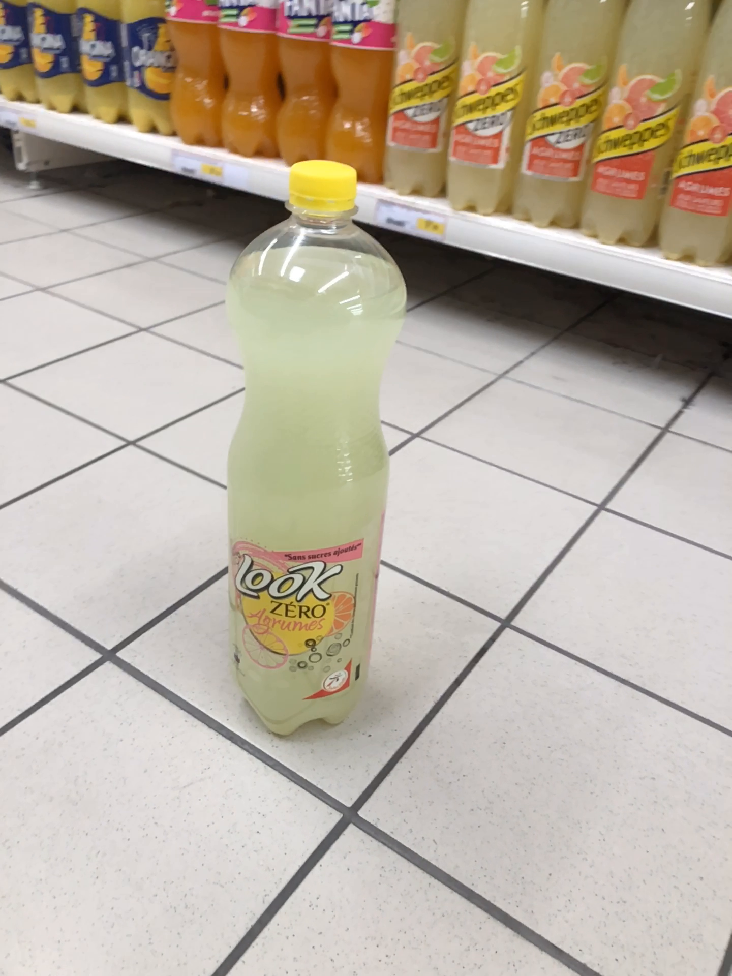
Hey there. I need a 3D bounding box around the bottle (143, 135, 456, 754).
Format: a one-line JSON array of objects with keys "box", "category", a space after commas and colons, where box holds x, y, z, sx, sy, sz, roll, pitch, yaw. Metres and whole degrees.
[{"box": [-0.034, -0.012, 0.425, 0.110, 0.298, 0.101, 4, 32, -2], "category": "bottle"}]
